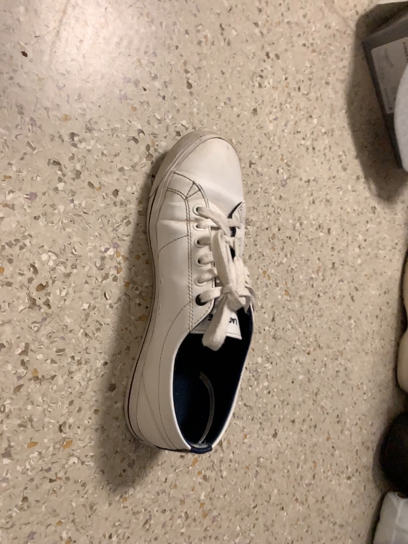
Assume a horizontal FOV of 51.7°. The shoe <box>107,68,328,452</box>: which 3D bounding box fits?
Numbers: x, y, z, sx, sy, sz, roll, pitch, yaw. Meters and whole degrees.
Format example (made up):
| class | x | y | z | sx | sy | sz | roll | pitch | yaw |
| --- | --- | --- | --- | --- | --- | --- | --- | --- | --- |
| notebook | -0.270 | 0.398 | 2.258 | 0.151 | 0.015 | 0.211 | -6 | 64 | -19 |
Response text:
| class | x | y | z | sx | sy | sz | roll | pitch | yaw |
| --- | --- | --- | --- | --- | --- | --- | --- | --- | --- |
| shoe | 0.015 | -0.005 | 0.333 | 0.101 | 0.089 | 0.250 | 16 | 80 | -39 |
